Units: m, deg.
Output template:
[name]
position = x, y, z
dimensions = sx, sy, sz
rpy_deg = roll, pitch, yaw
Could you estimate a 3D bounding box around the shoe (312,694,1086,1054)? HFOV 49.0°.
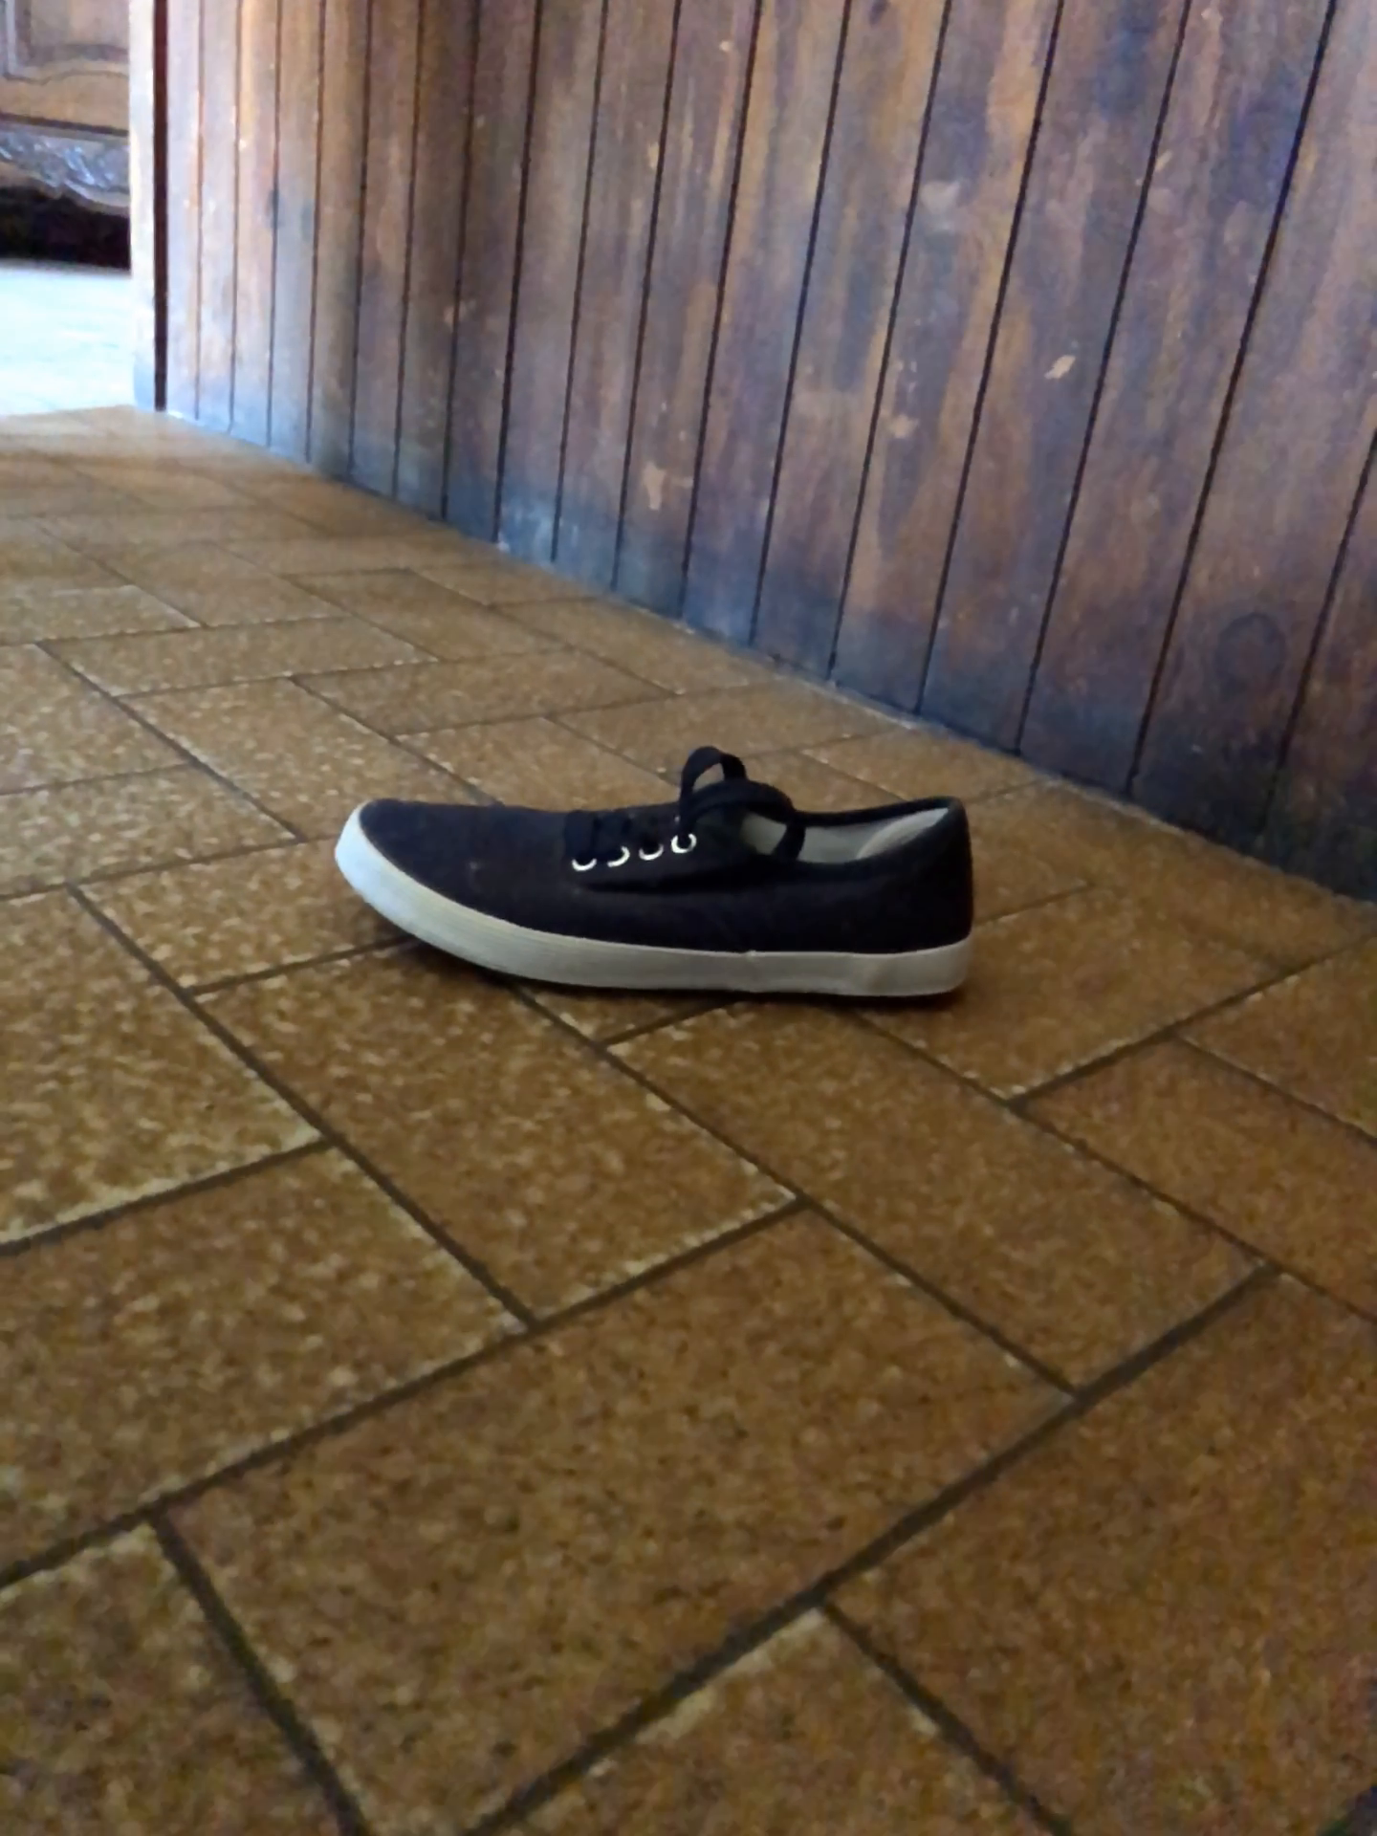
[shoe]
position = 0.000, -0.018, 0.526
dimensions = 0.240, 0.070, 0.101
rpy_deg = 5, 24, -6
